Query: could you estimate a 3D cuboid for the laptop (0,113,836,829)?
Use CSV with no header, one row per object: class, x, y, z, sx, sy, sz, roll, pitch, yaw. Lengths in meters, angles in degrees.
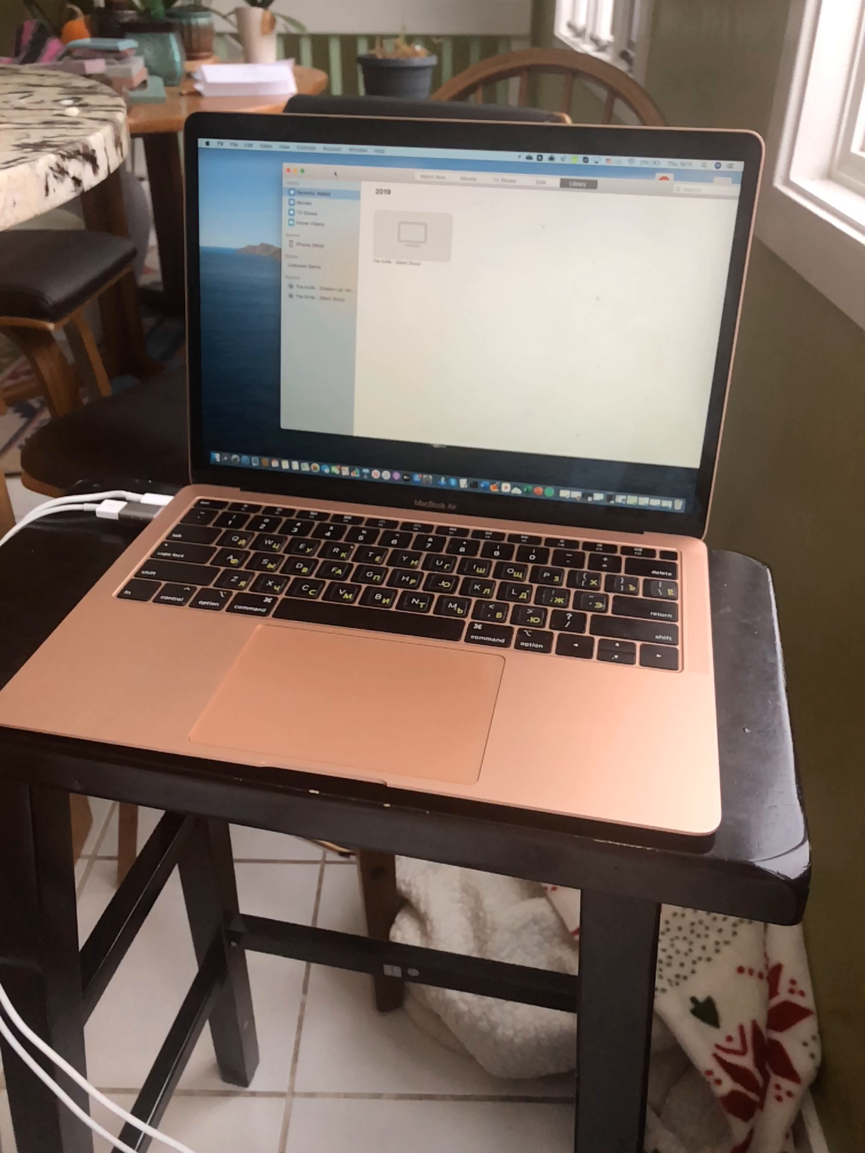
laptop,-0.013,-0.079,0.433,0.297,0.196,0.266,7,34,10
